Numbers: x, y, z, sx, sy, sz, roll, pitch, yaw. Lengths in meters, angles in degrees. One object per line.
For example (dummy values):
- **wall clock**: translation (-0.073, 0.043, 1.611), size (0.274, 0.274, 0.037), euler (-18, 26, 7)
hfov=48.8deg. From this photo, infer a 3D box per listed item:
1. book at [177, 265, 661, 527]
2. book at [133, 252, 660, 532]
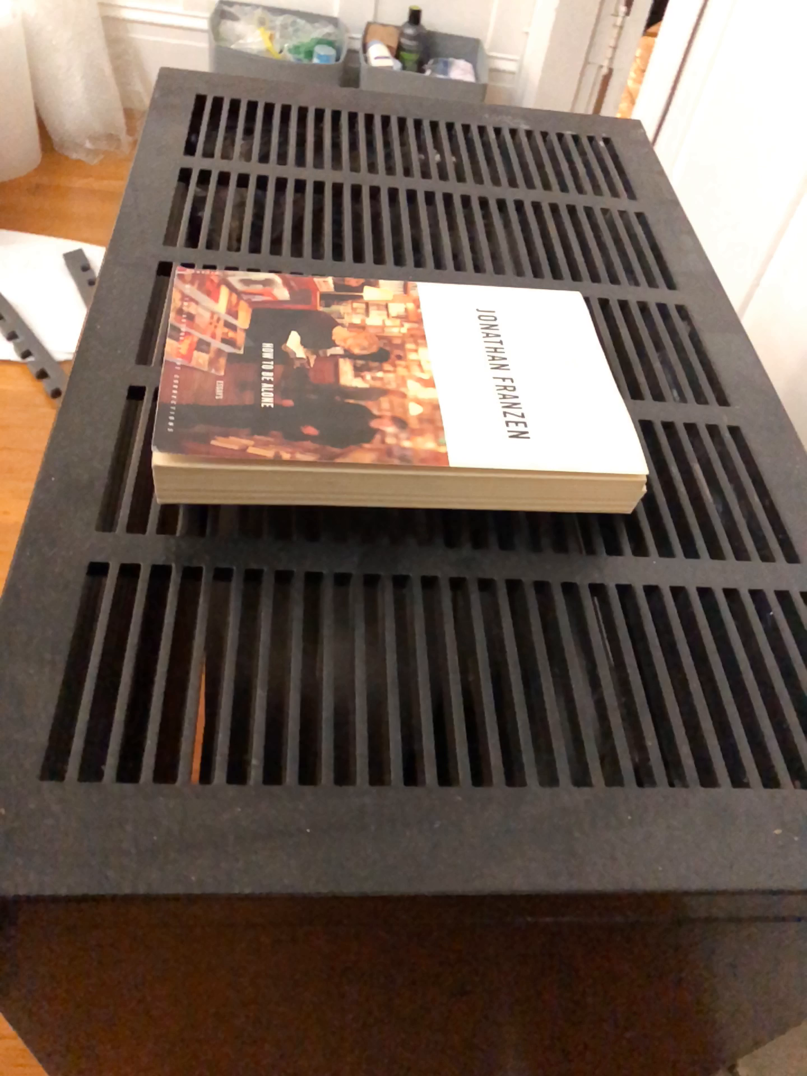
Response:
- **book**: translation (0.001, -0.073, 0.439), size (0.210, 0.030, 0.151), euler (1, 48, -10)
- **book**: translation (-0.007, -0.070, 0.410), size (0.210, 0.030, 0.151), euler (1, 48, -10)
